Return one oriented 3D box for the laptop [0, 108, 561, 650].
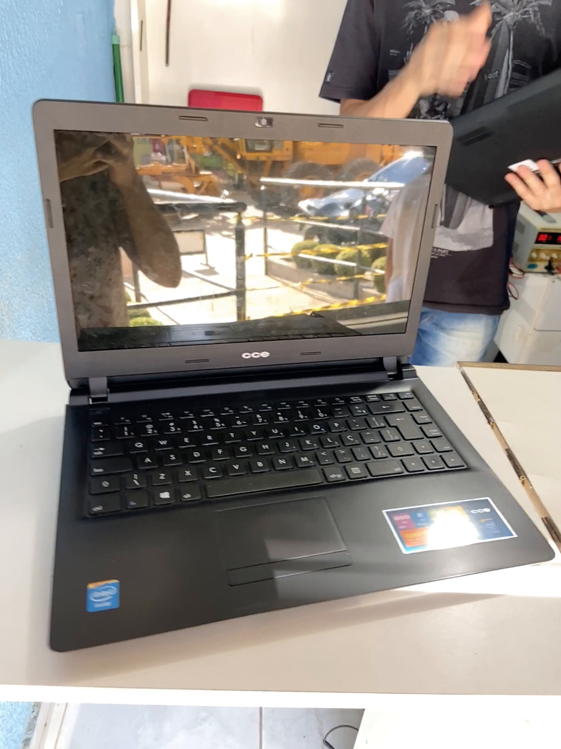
[{"bbox_3d":[0.008,-0.034,0.403,0.324,0.216,0.268,-5,35,-14],"label":"laptop"}]
